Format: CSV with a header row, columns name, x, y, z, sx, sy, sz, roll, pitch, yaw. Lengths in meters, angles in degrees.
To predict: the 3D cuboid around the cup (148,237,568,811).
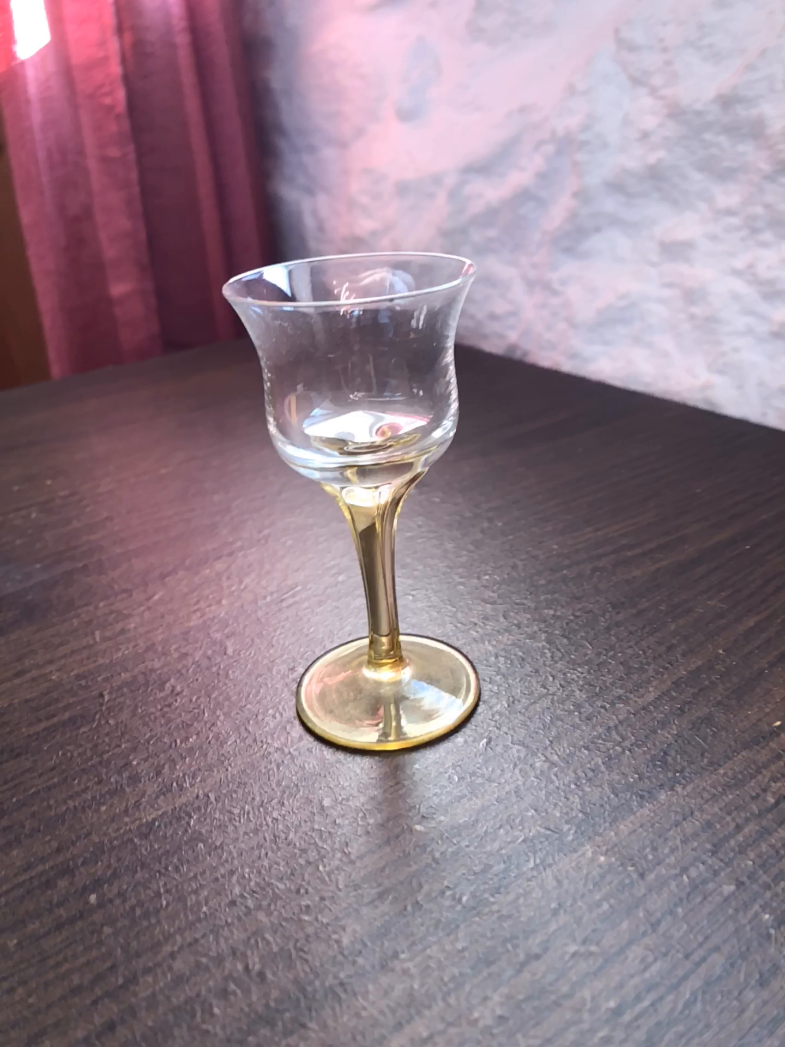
name,x,y,z,sx,sy,sz,roll,pitch,yaw
cup,-0.005,-0.005,0.179,0.059,0.093,0.051,-19,28,-31
